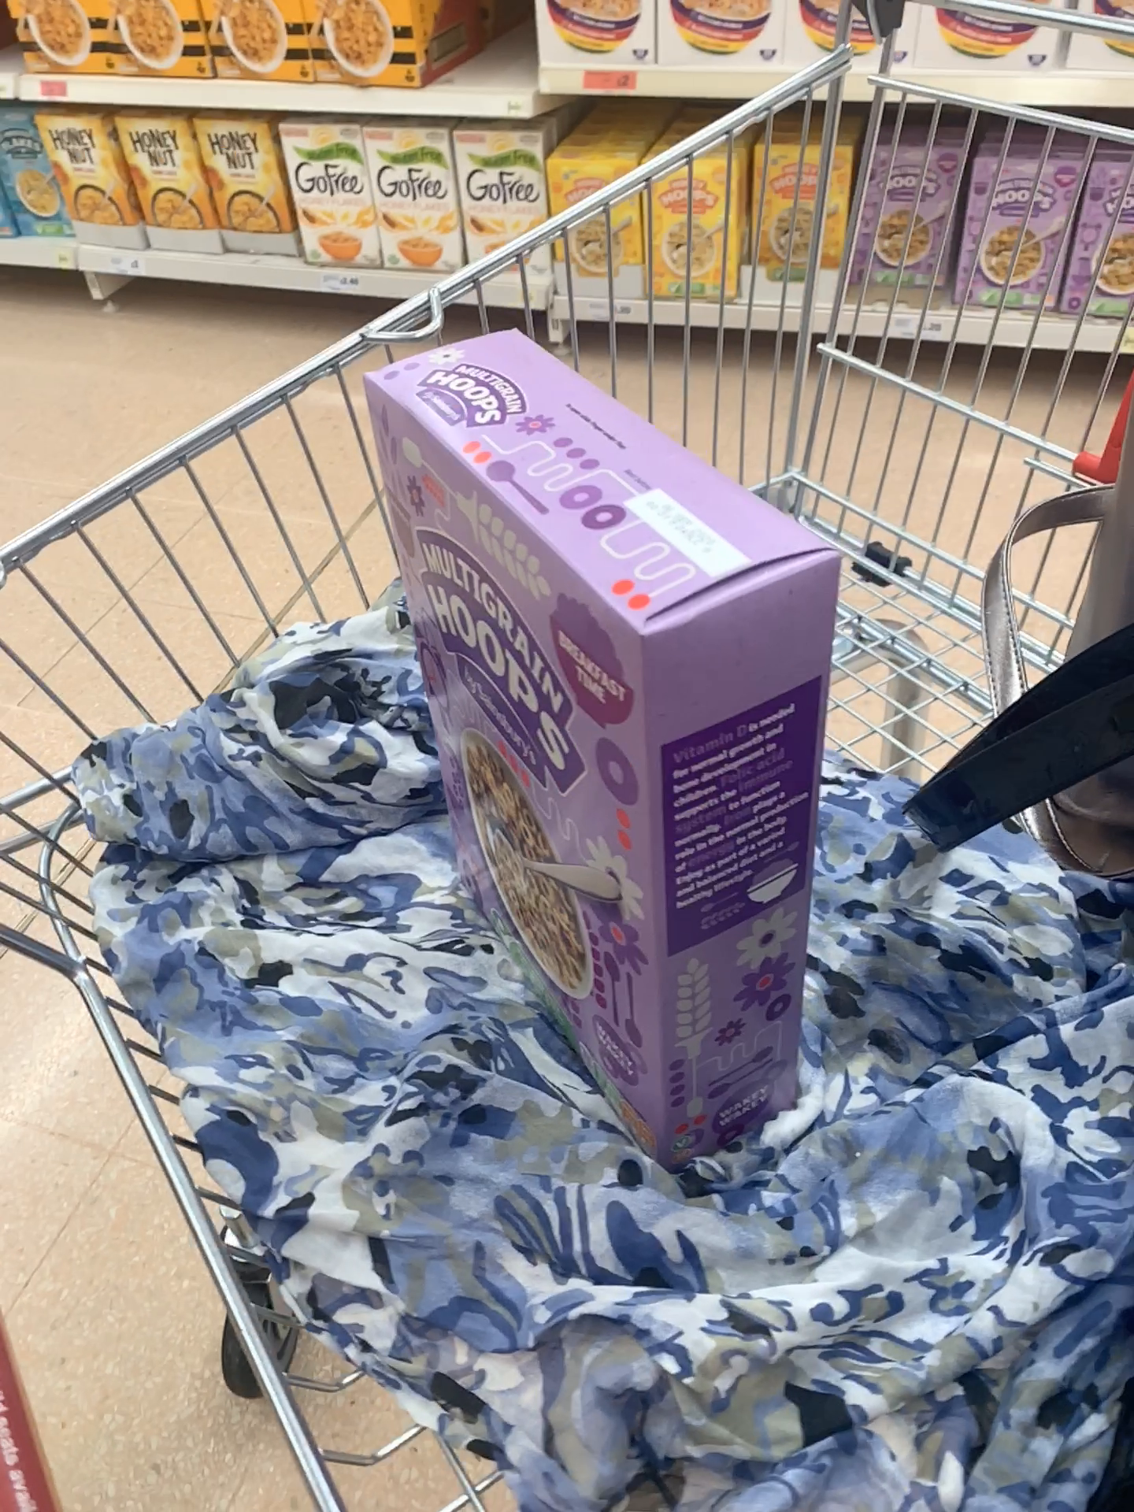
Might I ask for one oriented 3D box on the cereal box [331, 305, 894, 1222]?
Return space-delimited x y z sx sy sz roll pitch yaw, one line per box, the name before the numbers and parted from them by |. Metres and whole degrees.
cereal box | 0.007 0.005 0.435 0.070 0.267 0.212 -23 45 -19
